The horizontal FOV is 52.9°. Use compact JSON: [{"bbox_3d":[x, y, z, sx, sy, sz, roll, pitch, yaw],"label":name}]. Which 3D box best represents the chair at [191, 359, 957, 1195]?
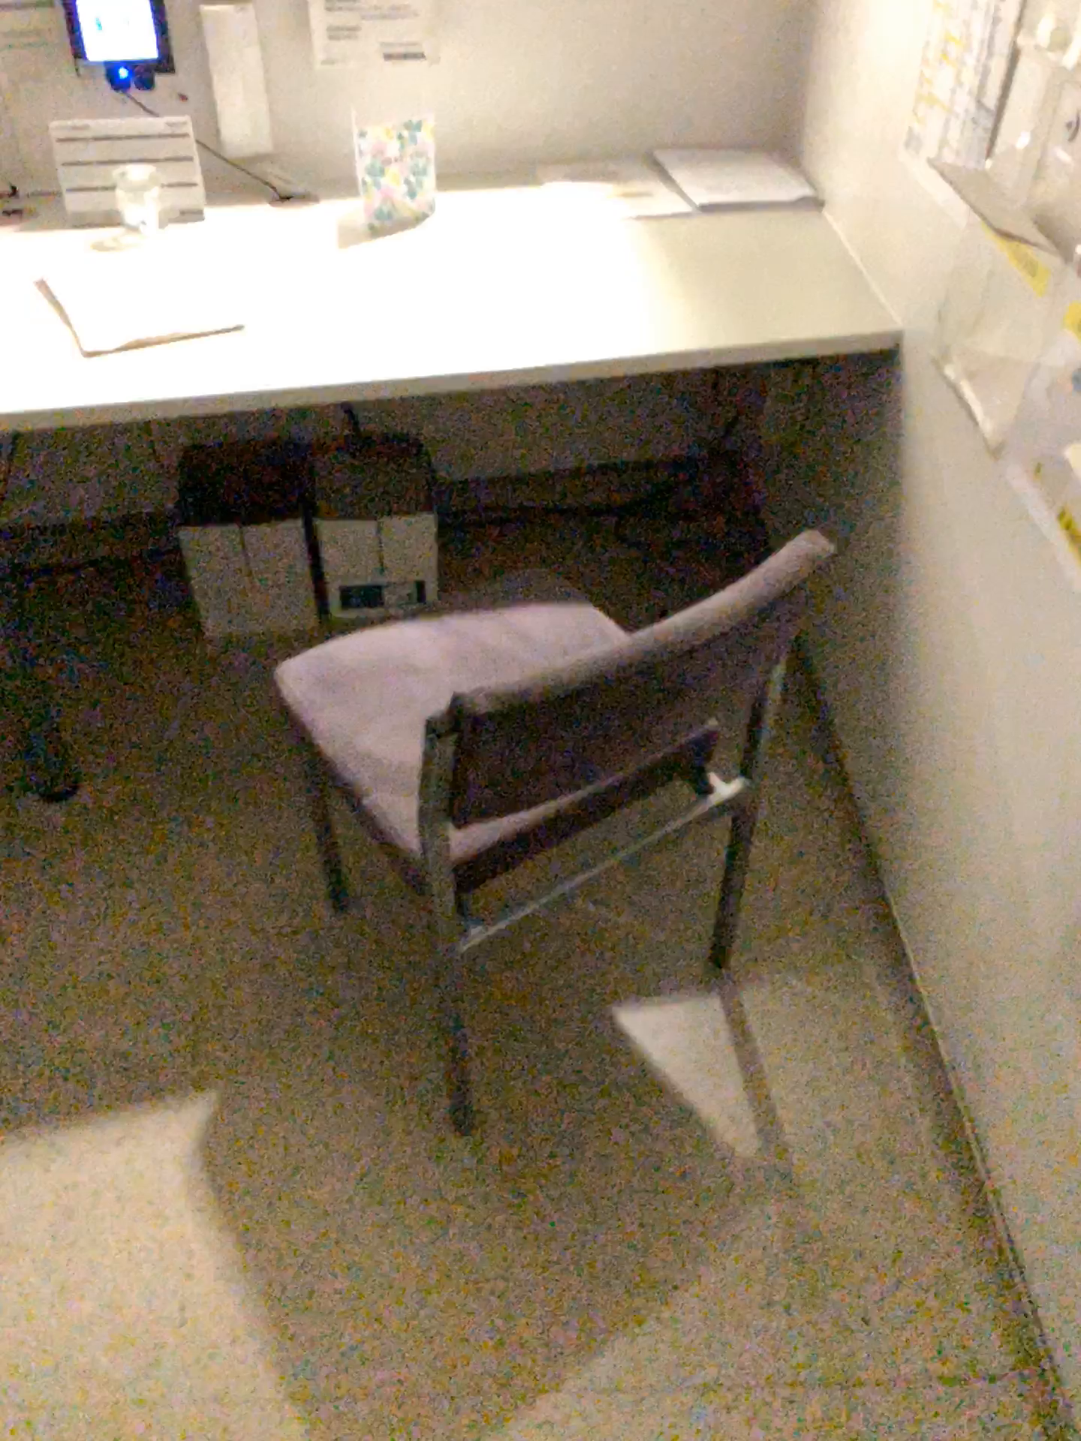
[{"bbox_3d":[0.012,0.040,1.329,0.572,0.663,0.554,-23,47,-25],"label":"chair"}]
